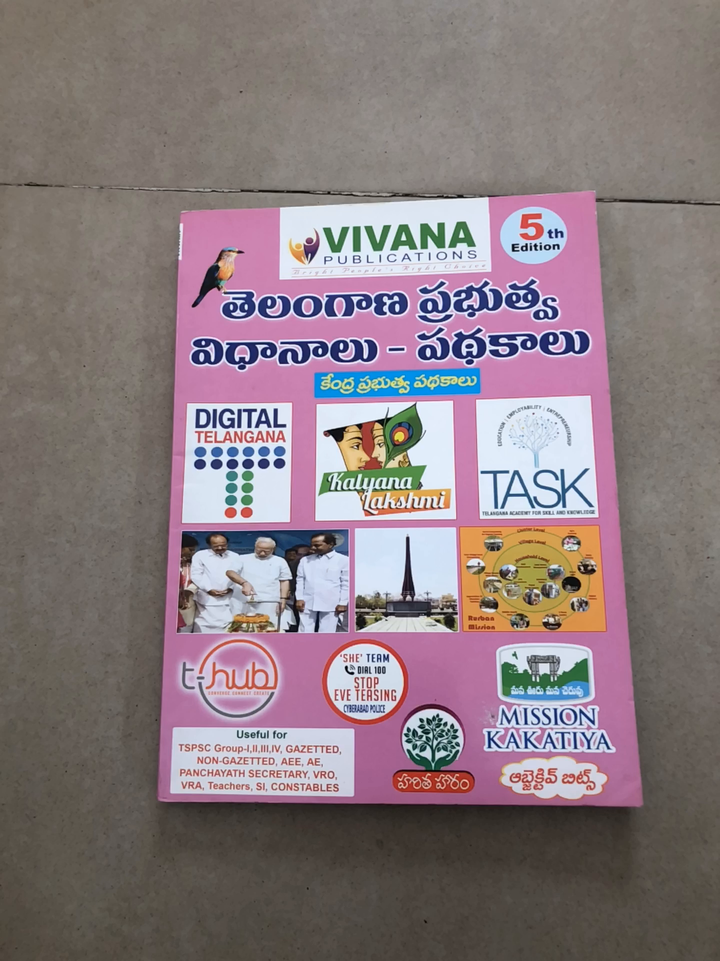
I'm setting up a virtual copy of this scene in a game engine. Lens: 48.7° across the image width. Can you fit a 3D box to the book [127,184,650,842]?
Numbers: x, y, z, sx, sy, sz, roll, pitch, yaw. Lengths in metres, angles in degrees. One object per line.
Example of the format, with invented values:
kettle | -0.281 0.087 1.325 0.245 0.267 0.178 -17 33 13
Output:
book | 0.011 0.007 0.351 0.200 0.040 0.270 0 78 5
